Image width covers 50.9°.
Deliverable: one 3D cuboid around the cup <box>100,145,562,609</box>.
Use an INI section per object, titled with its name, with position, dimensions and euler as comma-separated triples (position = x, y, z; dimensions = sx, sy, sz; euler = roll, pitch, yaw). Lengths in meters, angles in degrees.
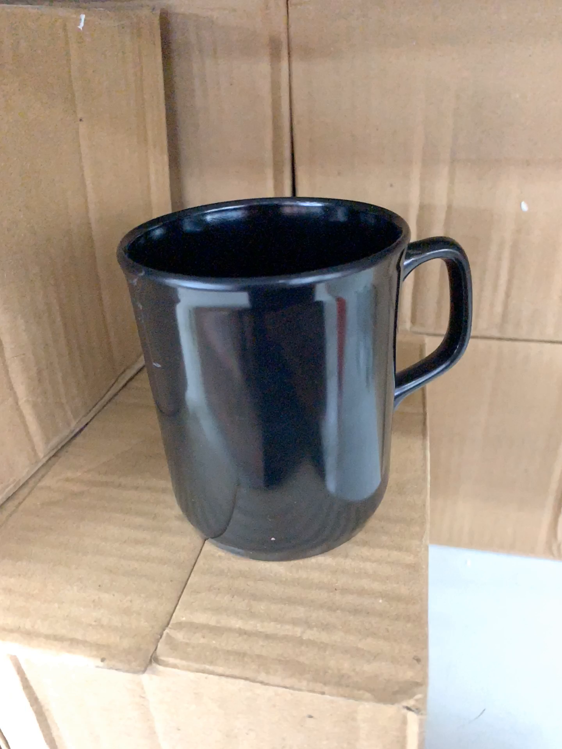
[cup]
position = 0.013, -0.007, 0.171
dimensions = 0.100, 0.089, 0.071
euler = -15, 34, -17
